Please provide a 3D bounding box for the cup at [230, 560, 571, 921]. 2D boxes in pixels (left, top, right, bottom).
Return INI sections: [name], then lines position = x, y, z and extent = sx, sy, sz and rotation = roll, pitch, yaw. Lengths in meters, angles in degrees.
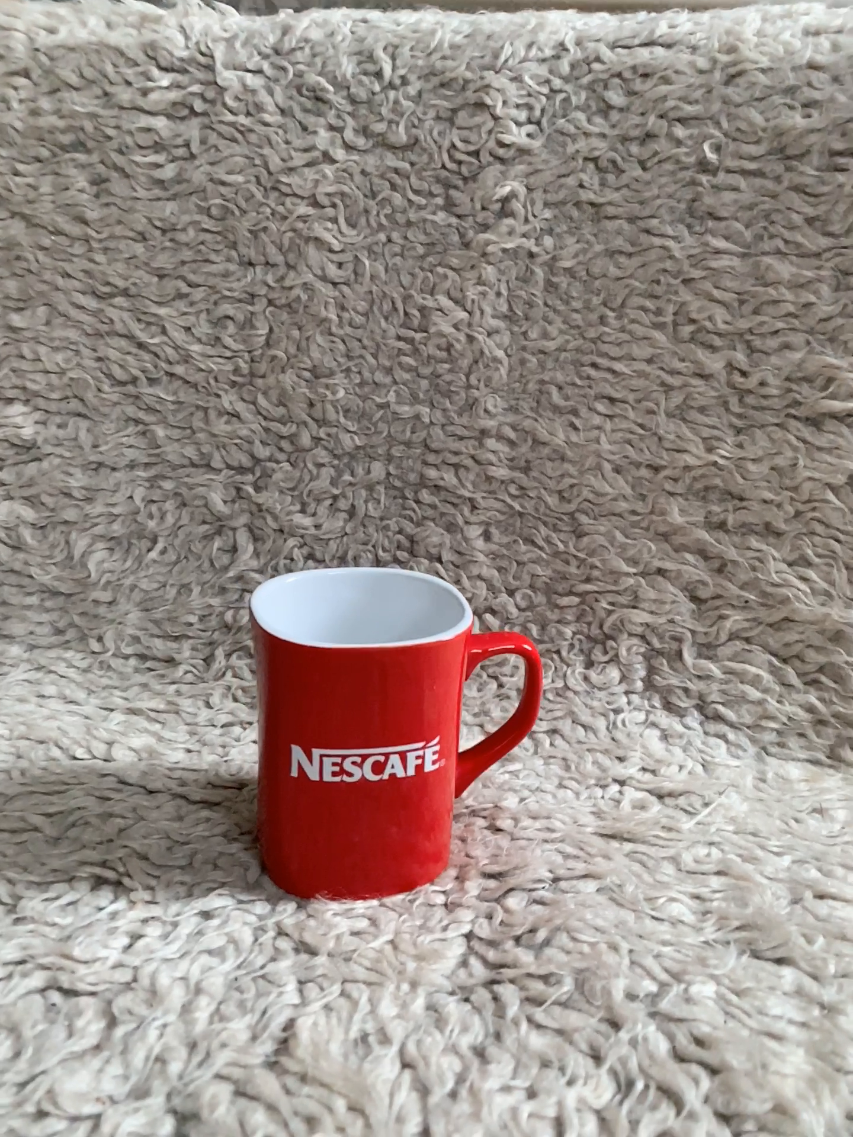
[cup]
position = -0.018, 0.066, 0.376
extent = 0.122, 0.110, 0.088
rotation = -3, 19, -17
